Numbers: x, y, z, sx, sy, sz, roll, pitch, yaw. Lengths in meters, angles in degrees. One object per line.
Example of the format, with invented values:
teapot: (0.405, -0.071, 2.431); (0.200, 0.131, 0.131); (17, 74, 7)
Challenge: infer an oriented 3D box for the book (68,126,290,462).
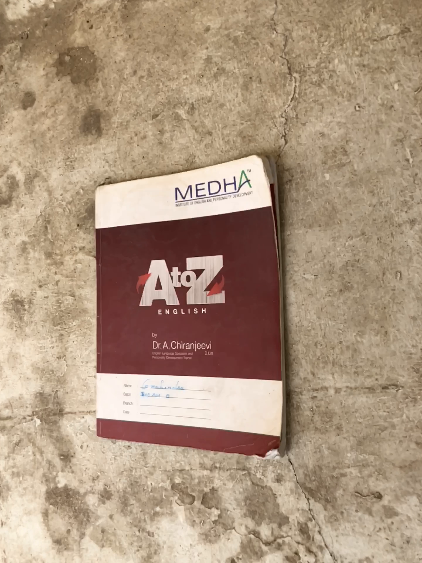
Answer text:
book: (-0.040, 0.013, 0.449); (0.221, 0.030, 0.280); (-3, 84, 26)
